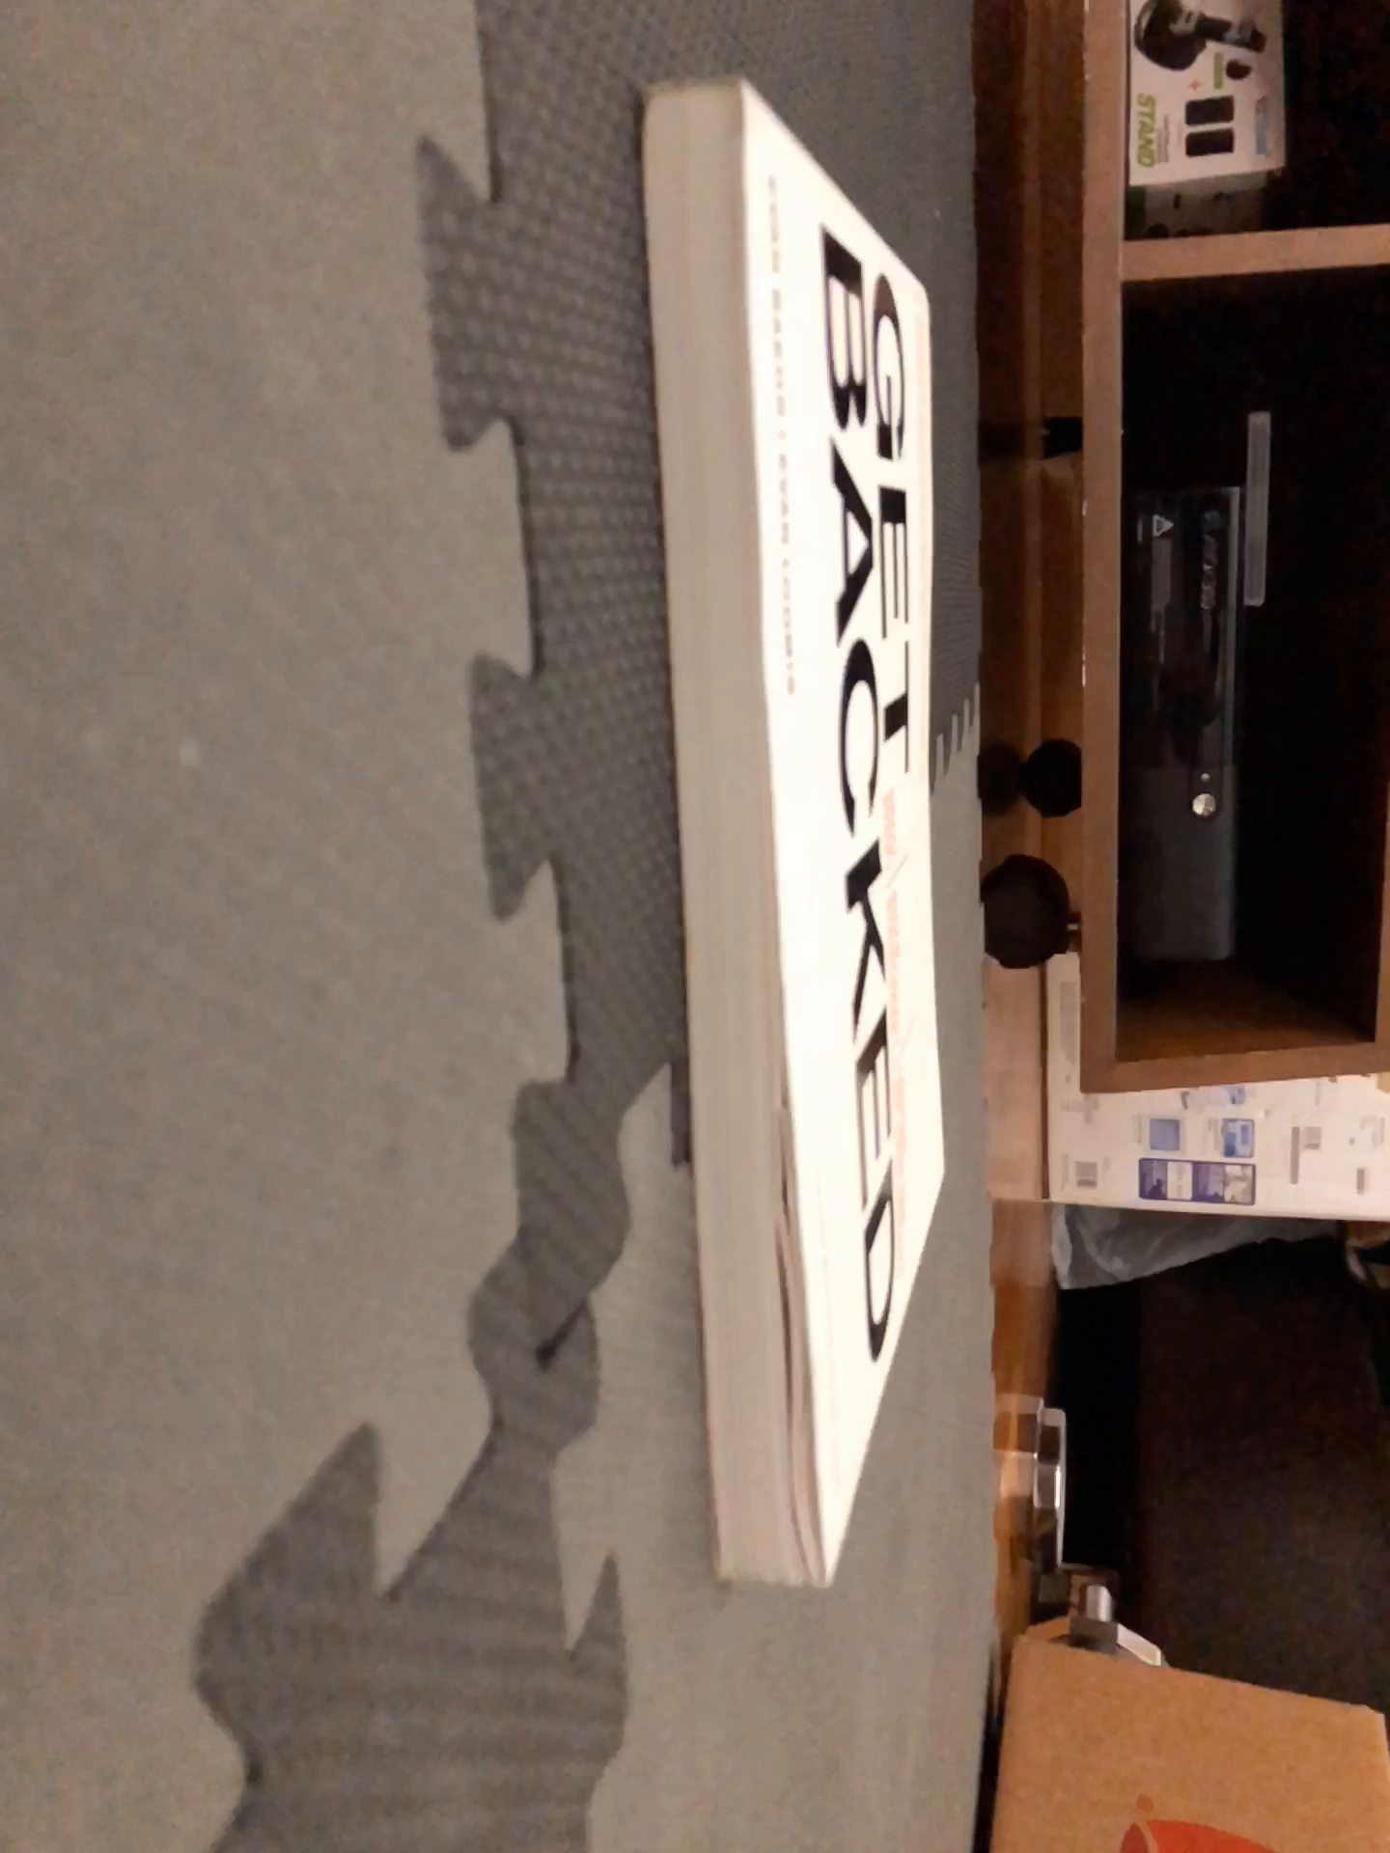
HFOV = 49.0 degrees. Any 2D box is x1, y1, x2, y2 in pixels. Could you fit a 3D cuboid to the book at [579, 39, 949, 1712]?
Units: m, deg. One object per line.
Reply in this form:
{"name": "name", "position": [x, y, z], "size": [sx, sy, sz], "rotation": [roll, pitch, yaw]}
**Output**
{"name": "book", "position": [0.030, -0.016, 0.333], "size": [0.211, 0.020, 0.260], "rotation": [-40, 129, -69]}
